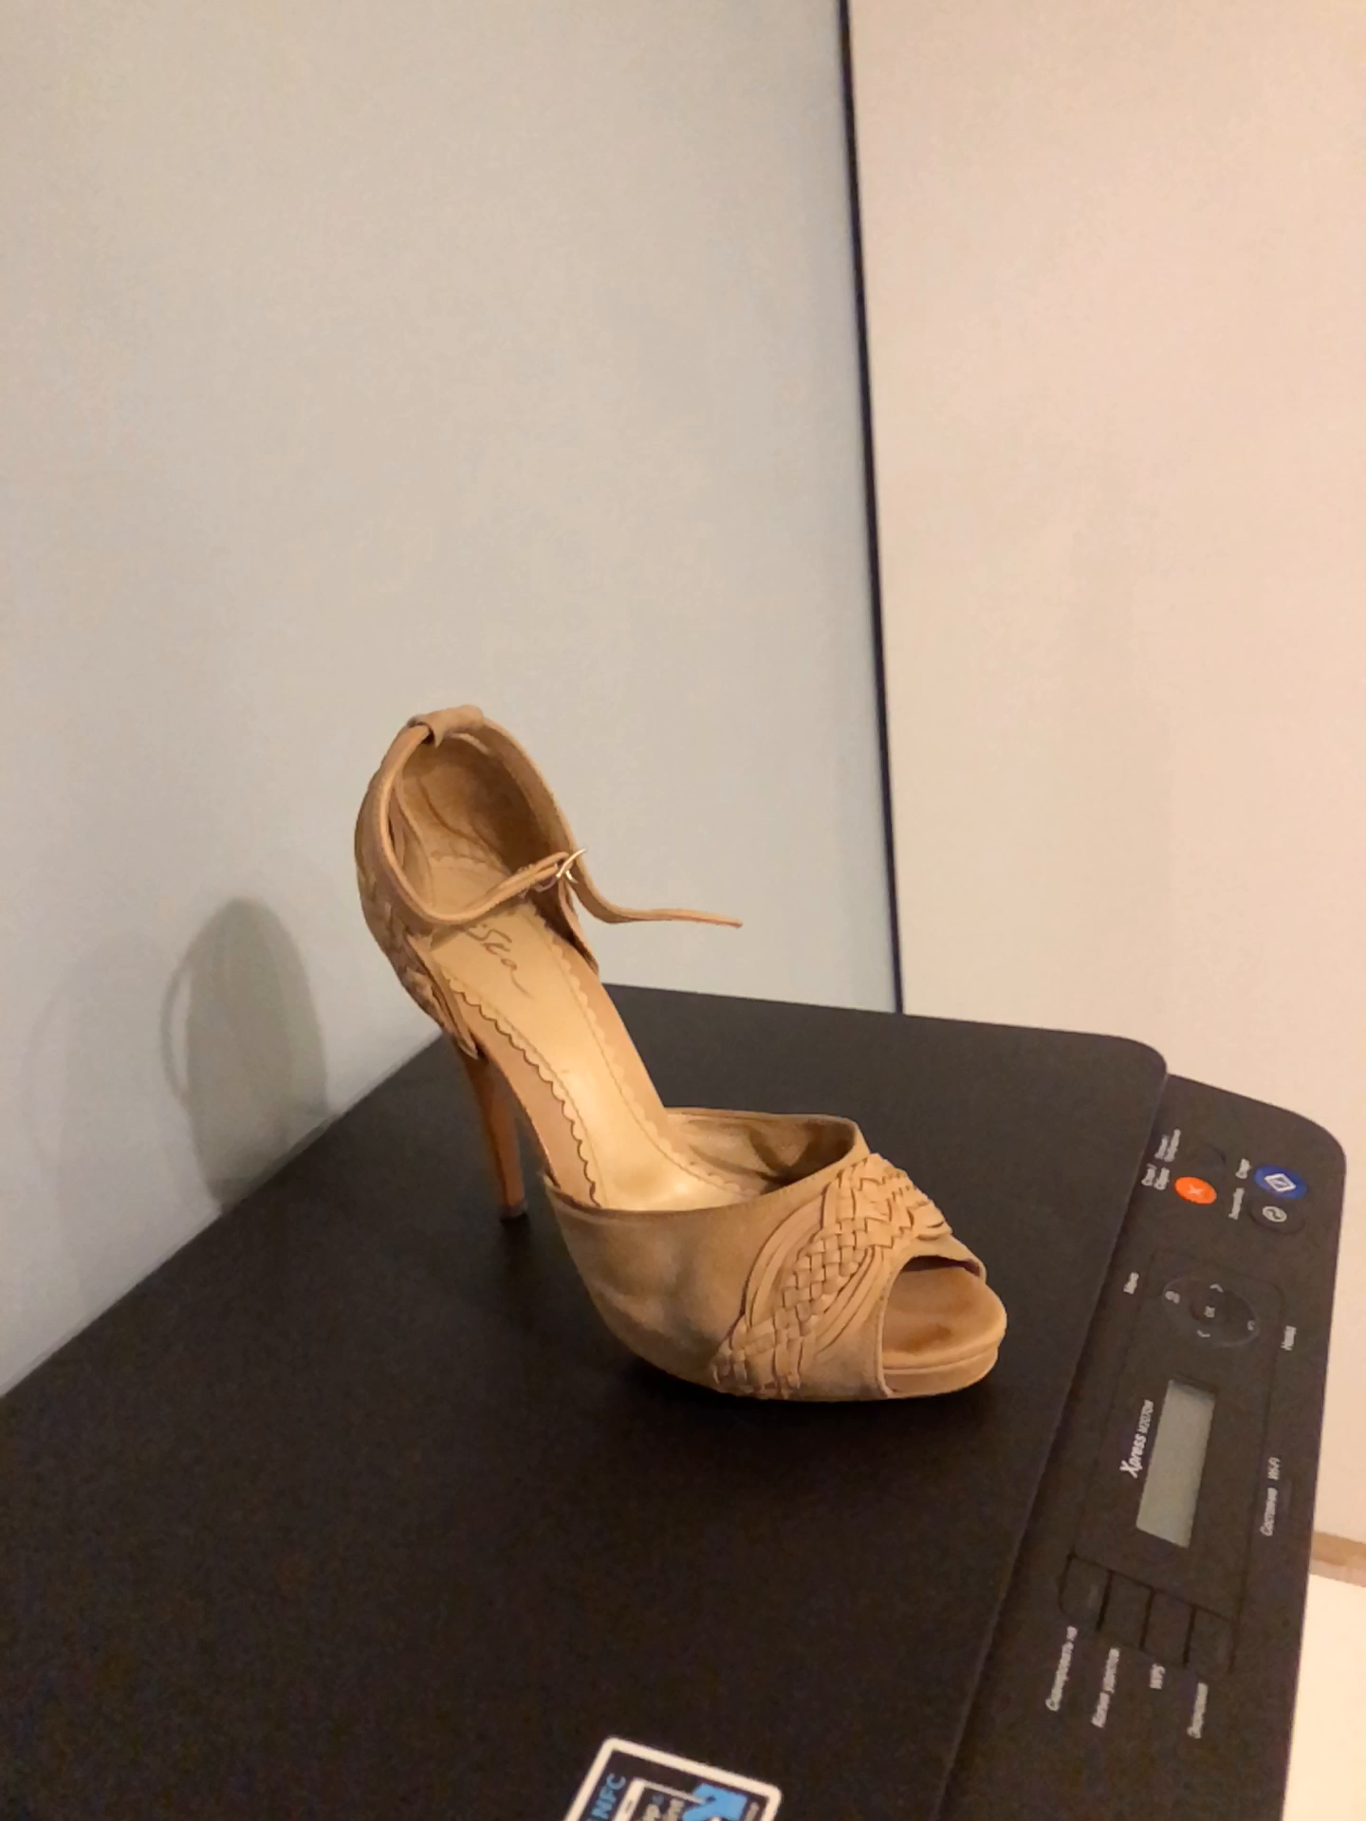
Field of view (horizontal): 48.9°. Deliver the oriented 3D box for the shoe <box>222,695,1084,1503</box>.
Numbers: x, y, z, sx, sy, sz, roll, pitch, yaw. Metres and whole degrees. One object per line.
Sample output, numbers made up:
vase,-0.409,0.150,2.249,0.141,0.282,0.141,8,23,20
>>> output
shoe,-0.009,0.035,0.427,0.220,0.159,0.090,10,27,36
